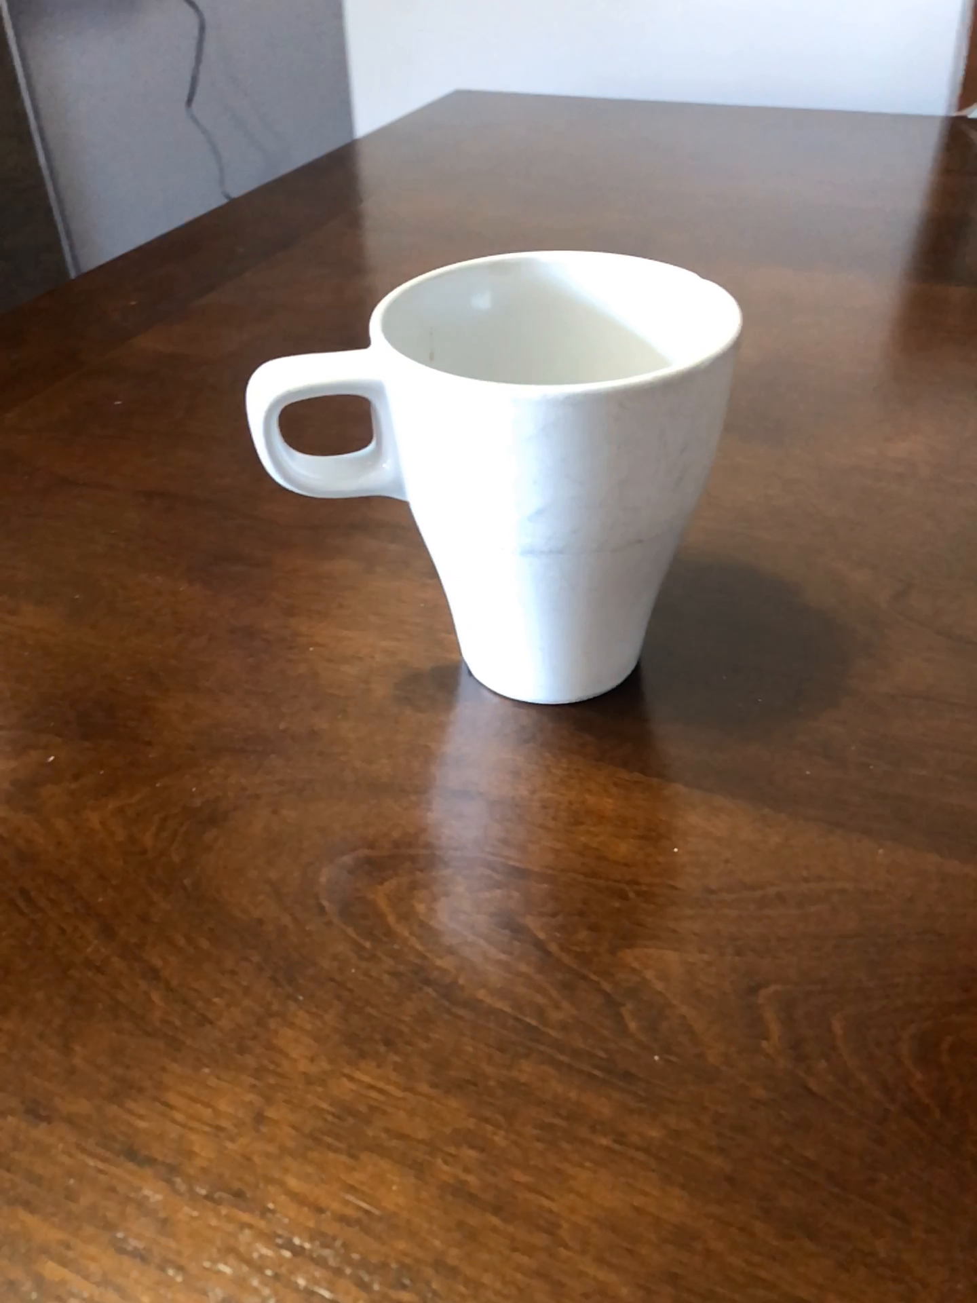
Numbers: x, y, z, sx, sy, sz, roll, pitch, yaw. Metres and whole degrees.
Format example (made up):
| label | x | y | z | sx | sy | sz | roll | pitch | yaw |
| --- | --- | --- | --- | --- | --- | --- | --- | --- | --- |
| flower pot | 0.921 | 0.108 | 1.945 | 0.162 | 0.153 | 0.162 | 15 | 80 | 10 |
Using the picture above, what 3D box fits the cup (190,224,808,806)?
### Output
| label | x | y | z | sx | sy | sz | roll | pitch | yaw |
| --- | --- | --- | --- | --- | --- | --- | --- | --- | --- |
| cup | 0.000 | -0.039 | 0.278 | 0.120 | 0.100 | 0.080 | -14 | 39 | -15 |
